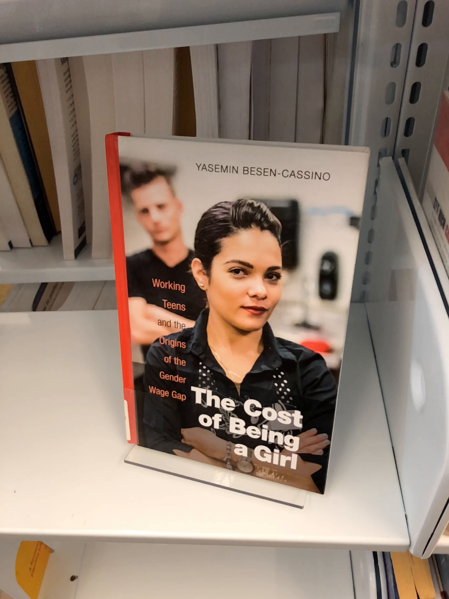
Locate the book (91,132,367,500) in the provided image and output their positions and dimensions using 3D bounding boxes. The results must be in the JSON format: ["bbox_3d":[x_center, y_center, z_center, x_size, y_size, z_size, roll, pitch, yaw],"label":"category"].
[{"bbox_3d":[-0.002,0.015,0.330,0.156,0.230,0.030,9,24,17],"label":"book"}]
